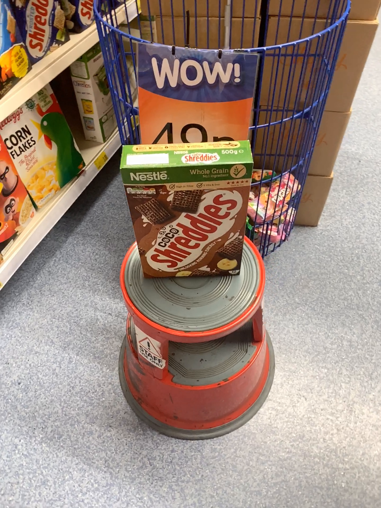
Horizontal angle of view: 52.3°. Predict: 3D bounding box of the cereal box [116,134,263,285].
[{"bbox_3d":[0.001,-0.058,0.658,0.200,0.278,0.071,-2,51,0],"label":"cereal box"}]
